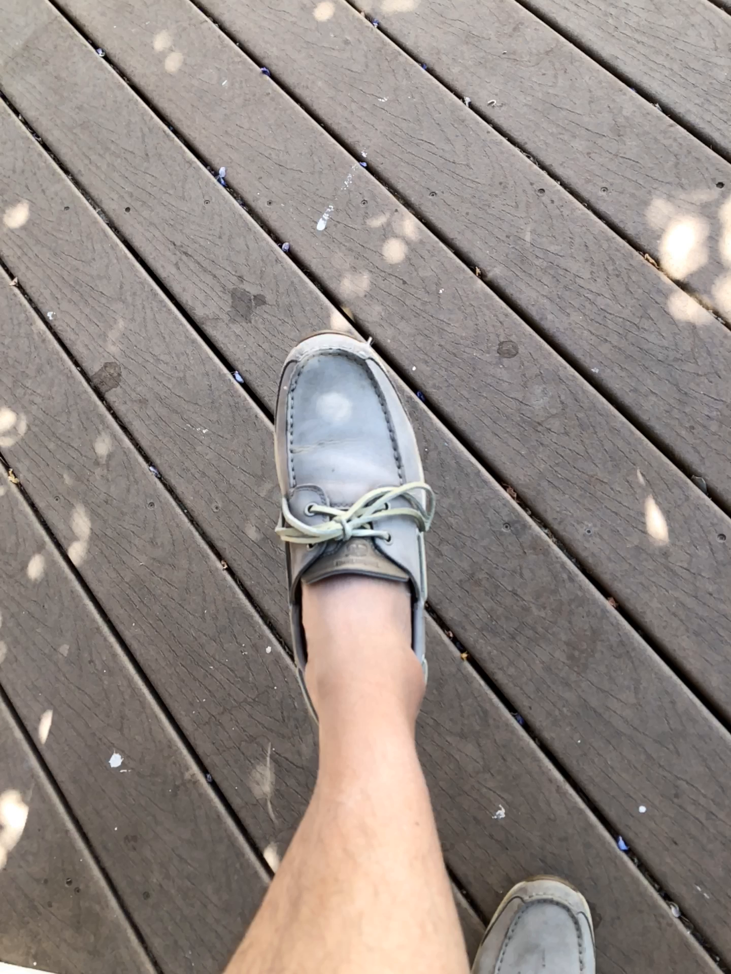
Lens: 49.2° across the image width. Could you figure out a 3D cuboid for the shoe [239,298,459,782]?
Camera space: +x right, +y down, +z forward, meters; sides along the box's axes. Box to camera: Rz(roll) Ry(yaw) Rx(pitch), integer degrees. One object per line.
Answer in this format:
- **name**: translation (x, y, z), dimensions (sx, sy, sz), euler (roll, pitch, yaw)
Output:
- **shoe**: translation (-0.009, 0.037, 0.562), dimensions (0.115, 0.085, 0.306), euler (-5, 85, 12)
